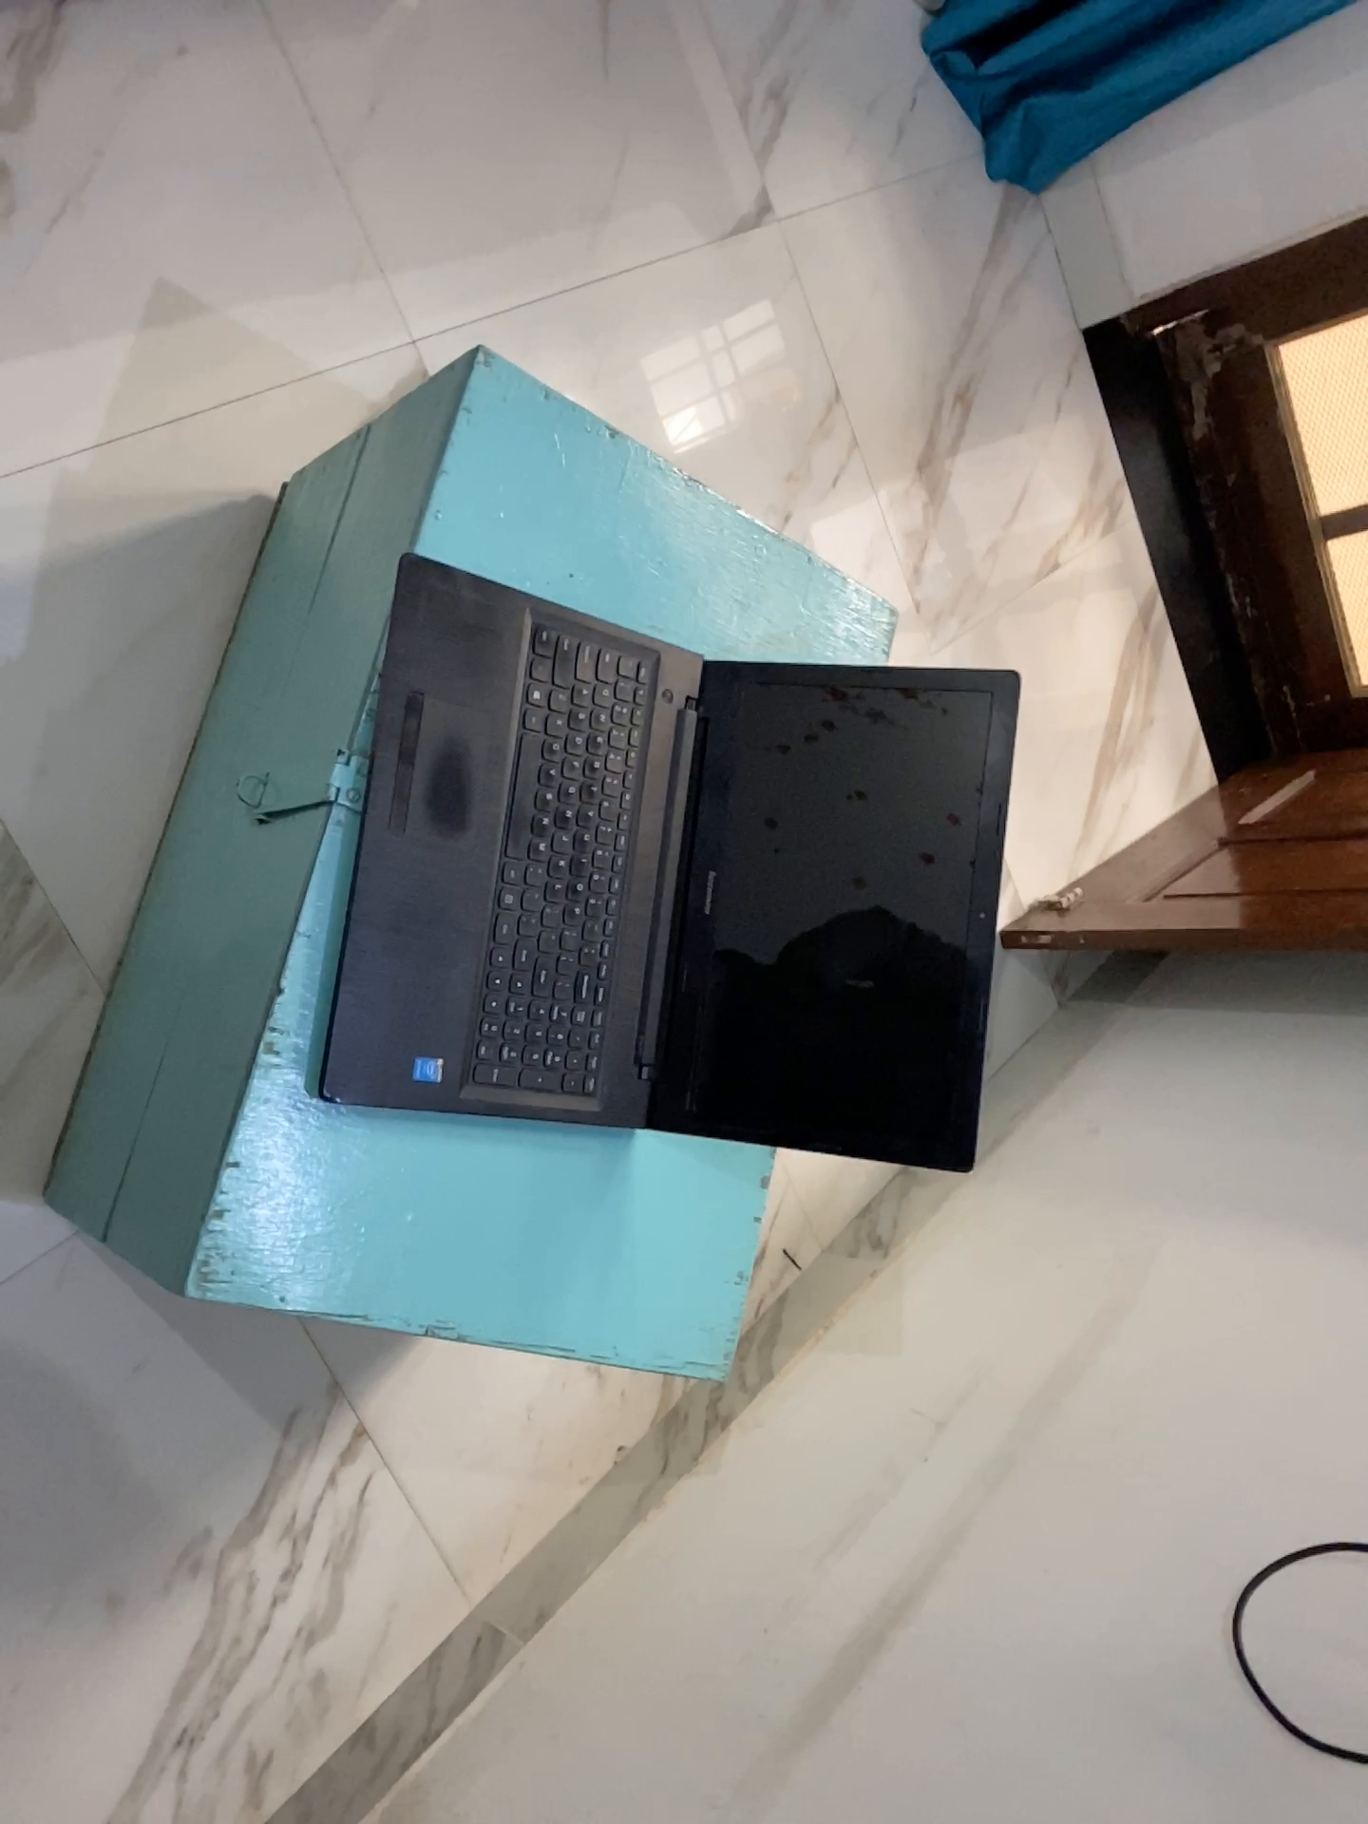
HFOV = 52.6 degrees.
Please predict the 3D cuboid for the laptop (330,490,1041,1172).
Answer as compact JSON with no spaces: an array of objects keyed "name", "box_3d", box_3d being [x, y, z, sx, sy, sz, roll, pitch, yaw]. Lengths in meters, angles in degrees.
[{"name":"laptop","box_3d":[0.019,-0.028,0.987,0.425,0.191,0.370,12,81,-35]}]
